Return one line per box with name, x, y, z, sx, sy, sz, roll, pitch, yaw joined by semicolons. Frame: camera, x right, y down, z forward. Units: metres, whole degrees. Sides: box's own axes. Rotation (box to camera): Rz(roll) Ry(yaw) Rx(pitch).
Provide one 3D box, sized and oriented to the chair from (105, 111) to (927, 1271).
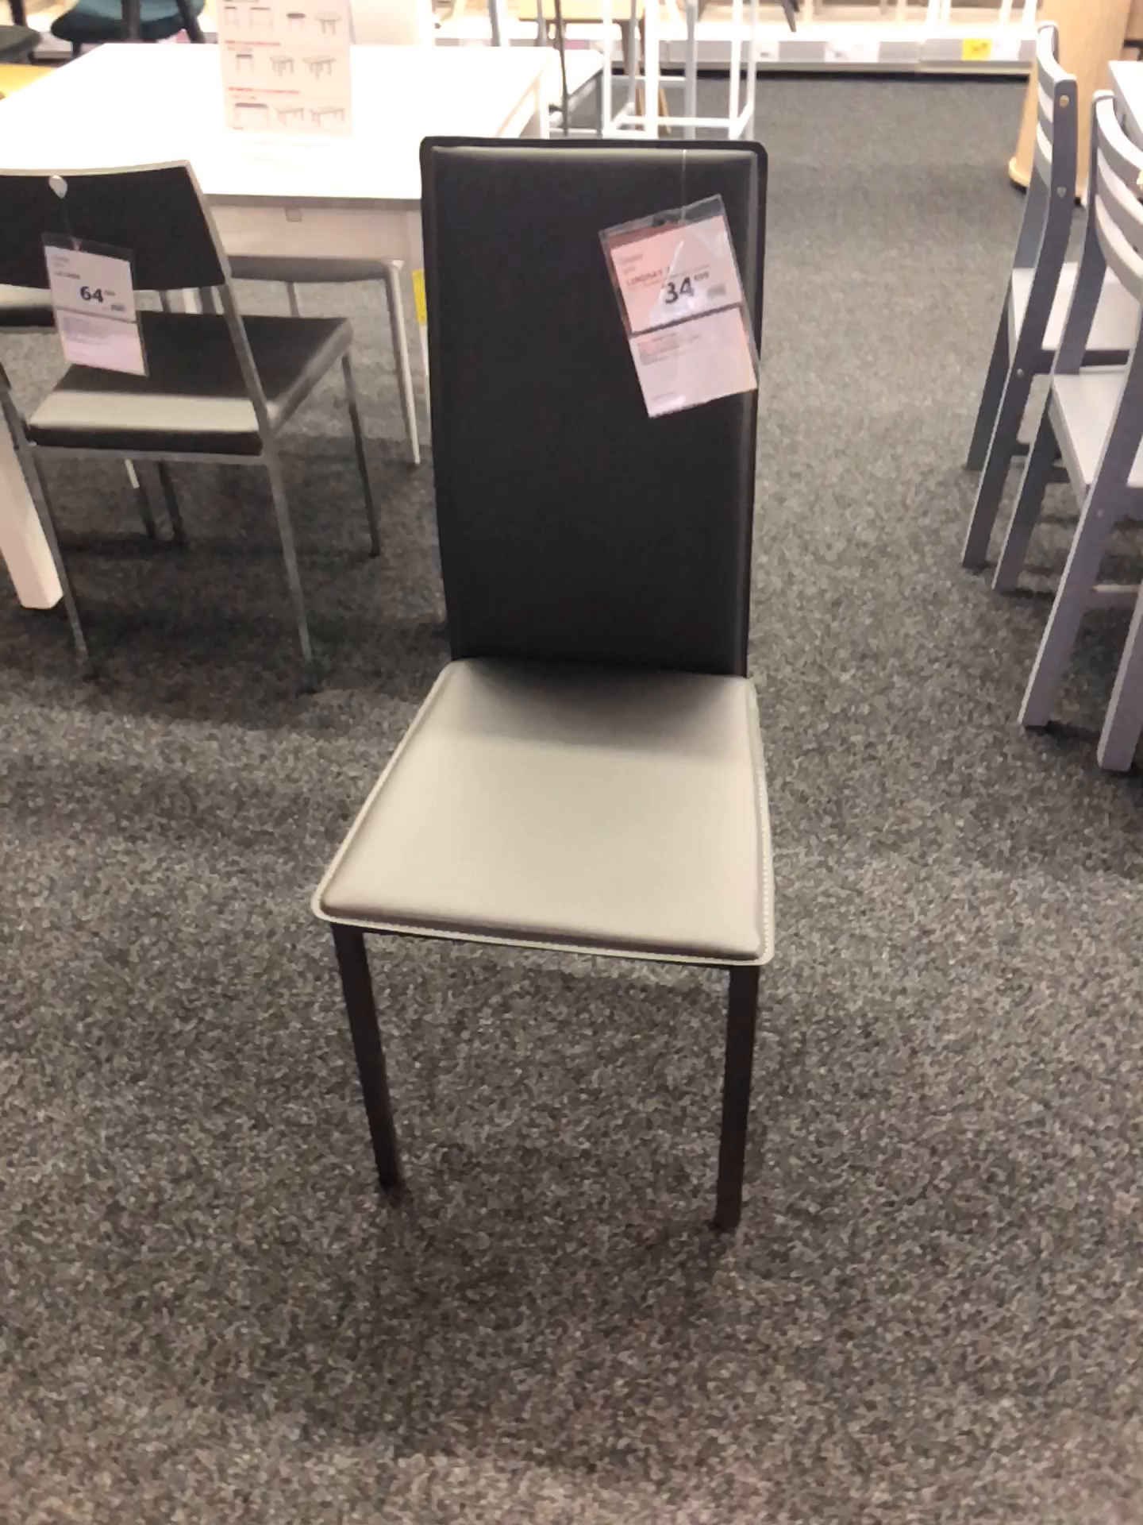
chair;0.019;-0.043;1.212;0.470;0.934;0.564;5;41;8
